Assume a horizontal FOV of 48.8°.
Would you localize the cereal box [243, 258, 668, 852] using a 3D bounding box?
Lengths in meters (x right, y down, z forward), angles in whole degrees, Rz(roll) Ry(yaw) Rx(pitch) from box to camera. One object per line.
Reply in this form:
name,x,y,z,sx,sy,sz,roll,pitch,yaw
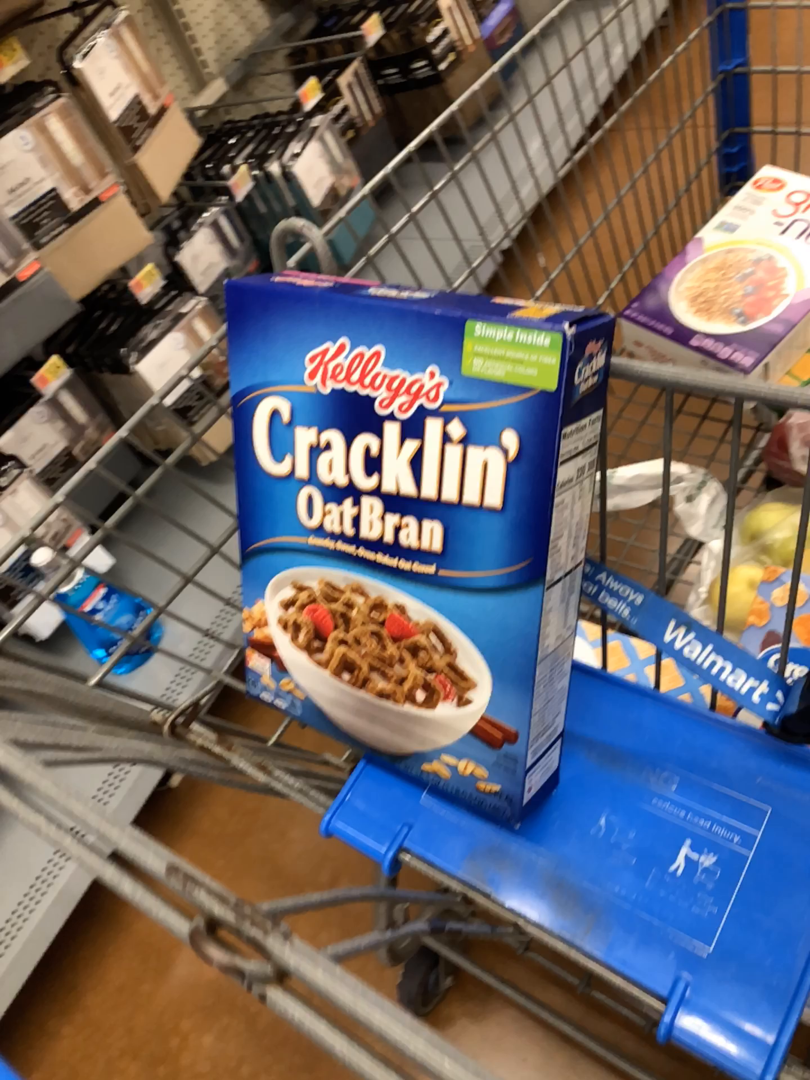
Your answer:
cereal box,0.010,0.001,0.460,0.201,0.260,0.050,18,28,33
